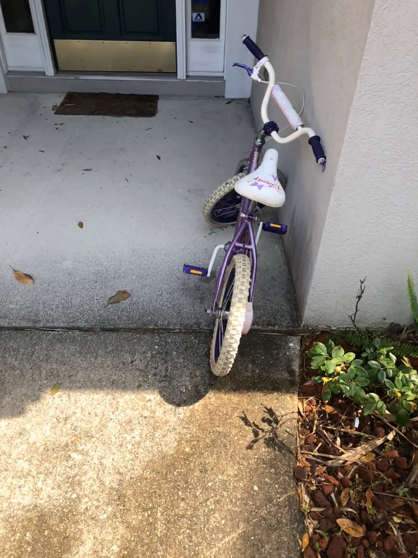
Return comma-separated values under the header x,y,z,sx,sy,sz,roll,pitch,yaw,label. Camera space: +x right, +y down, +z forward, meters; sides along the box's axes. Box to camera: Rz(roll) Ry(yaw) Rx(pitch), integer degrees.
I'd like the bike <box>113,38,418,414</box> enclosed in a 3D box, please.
x,y,z,sx,sy,sz,roll,pitch,yaw,label
0.153,-0.208,1.469,0.615,0.816,0.851,6,40,5,bike
